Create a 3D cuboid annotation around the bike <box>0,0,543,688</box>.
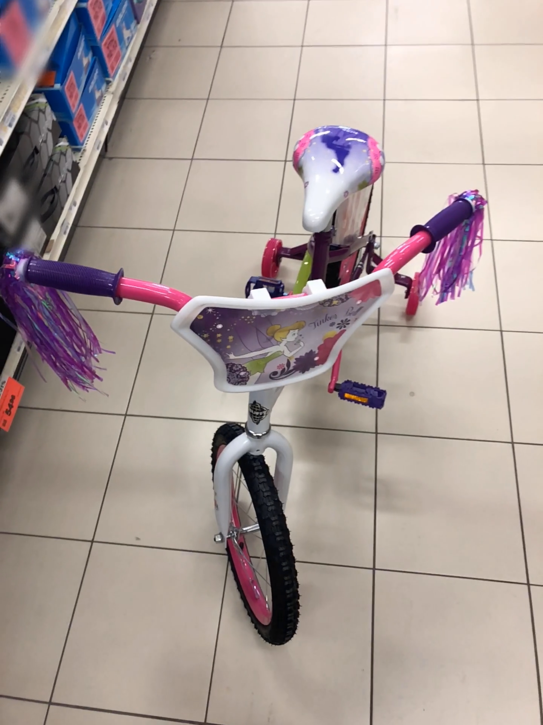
[{"bbox_3d":[0.104,-0.120,1.046,0.595,0.810,1.070,9,60,9],"label":"bike"}]
